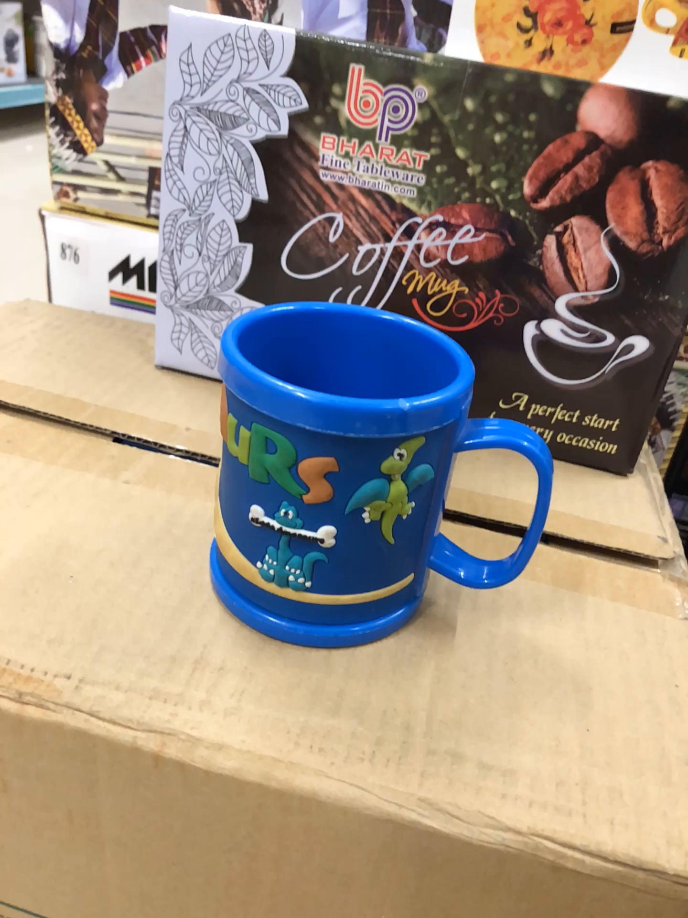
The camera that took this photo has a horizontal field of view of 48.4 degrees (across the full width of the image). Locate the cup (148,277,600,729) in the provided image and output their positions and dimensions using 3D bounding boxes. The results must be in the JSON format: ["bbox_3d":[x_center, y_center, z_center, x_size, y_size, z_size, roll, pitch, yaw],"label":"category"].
[{"bbox_3d":[0.011,0.007,0.259,0.120,0.089,0.091,16,32,12],"label":"cup"}]
